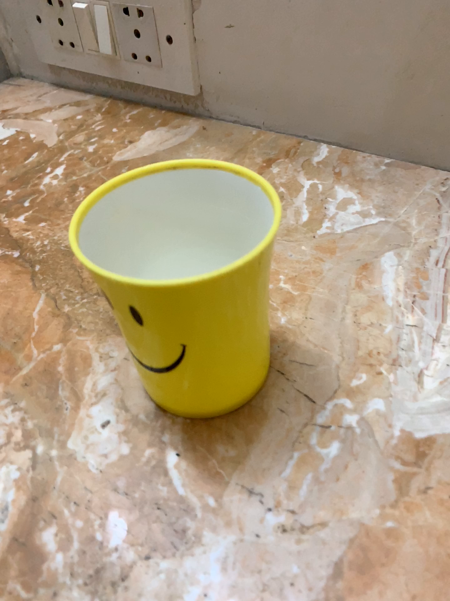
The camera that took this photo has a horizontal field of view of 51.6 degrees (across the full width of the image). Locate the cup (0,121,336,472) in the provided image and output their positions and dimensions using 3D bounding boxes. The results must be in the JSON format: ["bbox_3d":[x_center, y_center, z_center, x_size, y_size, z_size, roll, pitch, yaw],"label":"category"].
[{"bbox_3d":[-0.024,-0.007,0.192,0.110,0.089,0.070,22,52,27],"label":"cup"}]
